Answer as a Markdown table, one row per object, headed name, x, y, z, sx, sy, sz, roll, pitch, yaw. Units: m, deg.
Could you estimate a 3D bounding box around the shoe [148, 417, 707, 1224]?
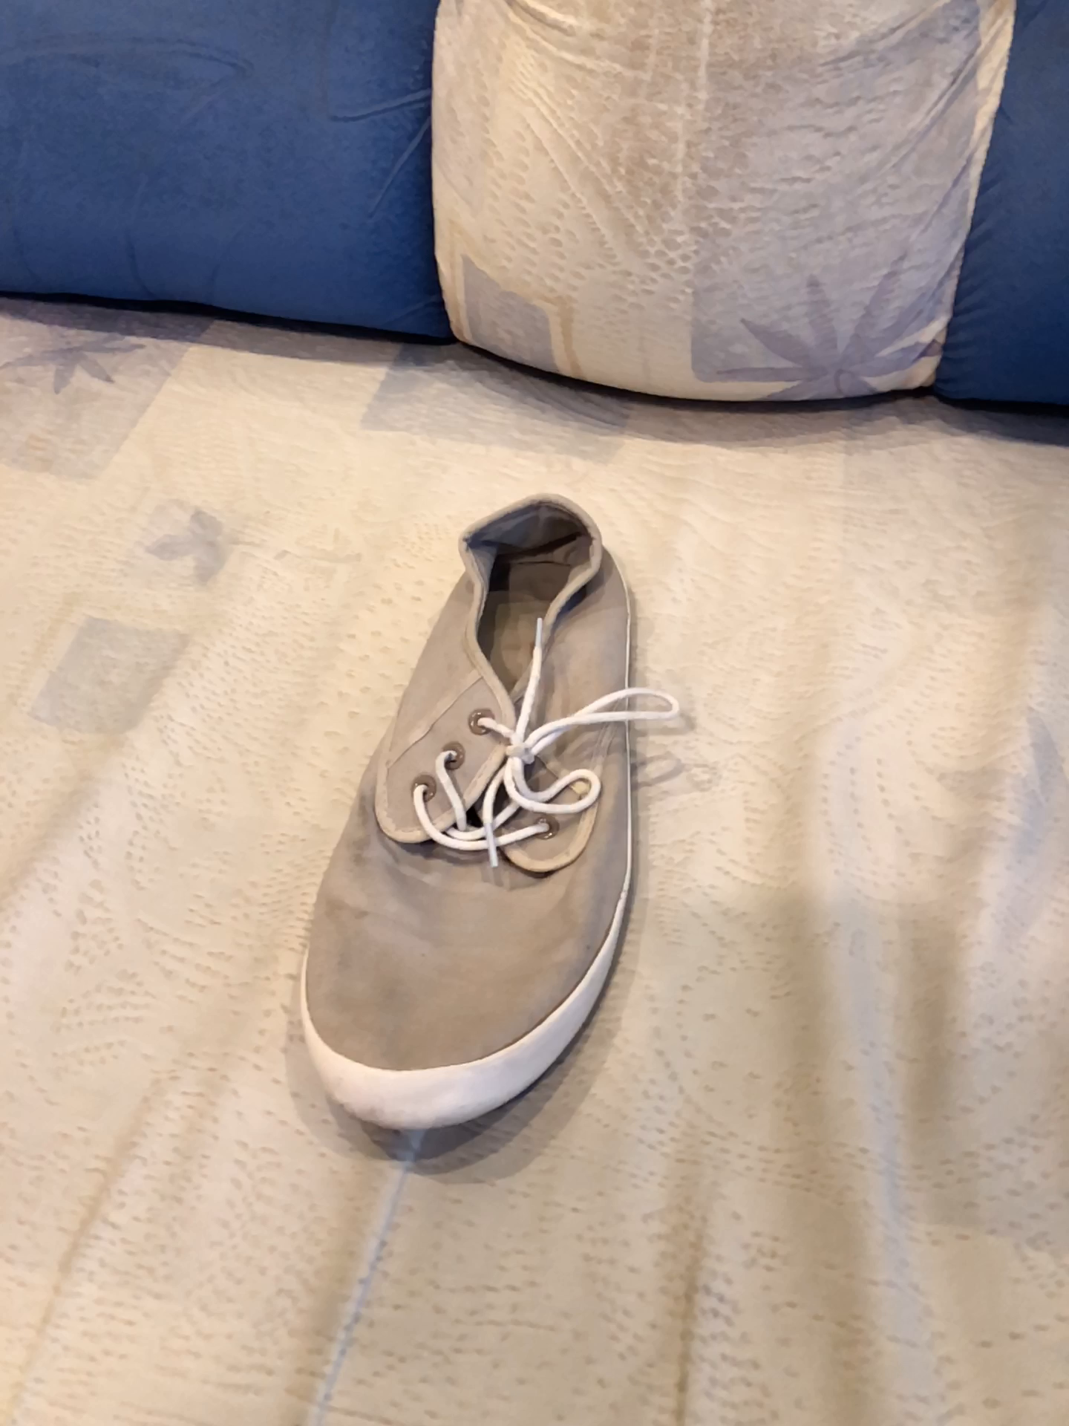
| name | x | y | z | sx | sy | sz | roll | pitch | yaw |
| --- | --- | --- | --- | --- | --- | --- | --- | --- | --- |
| shoe | -0.015 | 0.015 | 0.409 | 0.110 | 0.079 | 0.272 | 8 | 50 | 10 |
